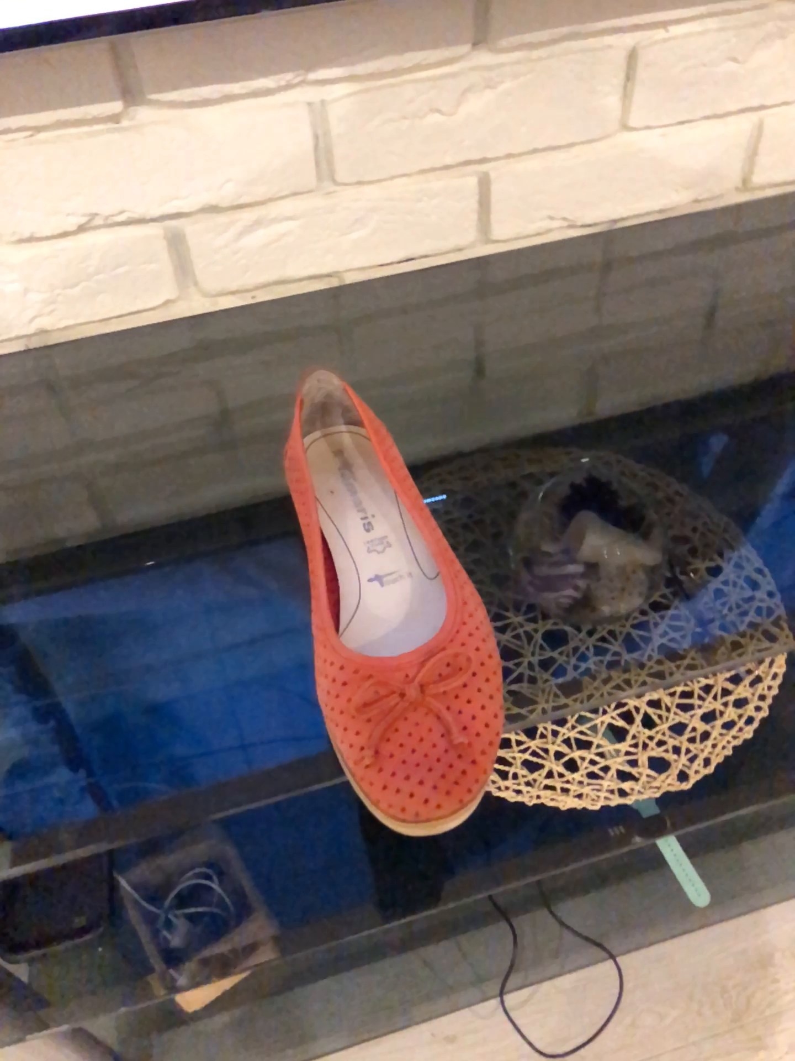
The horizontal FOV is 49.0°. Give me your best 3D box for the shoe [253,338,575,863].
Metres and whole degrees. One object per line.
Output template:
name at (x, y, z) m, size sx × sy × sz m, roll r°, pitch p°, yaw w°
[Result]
shoe at (-0.005, 0.016, 0.427) m, size 0.090 × 0.079 × 0.249 m, roll -12°, pitch 47°, yaw -7°
